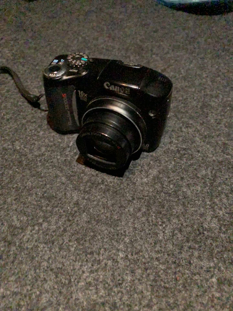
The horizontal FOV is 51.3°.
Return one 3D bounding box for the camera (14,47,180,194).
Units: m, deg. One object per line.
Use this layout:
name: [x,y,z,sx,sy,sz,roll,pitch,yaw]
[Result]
camera: [-0.012,-0.032,0.215,0.108,0.079,0.070,16,52,11]
